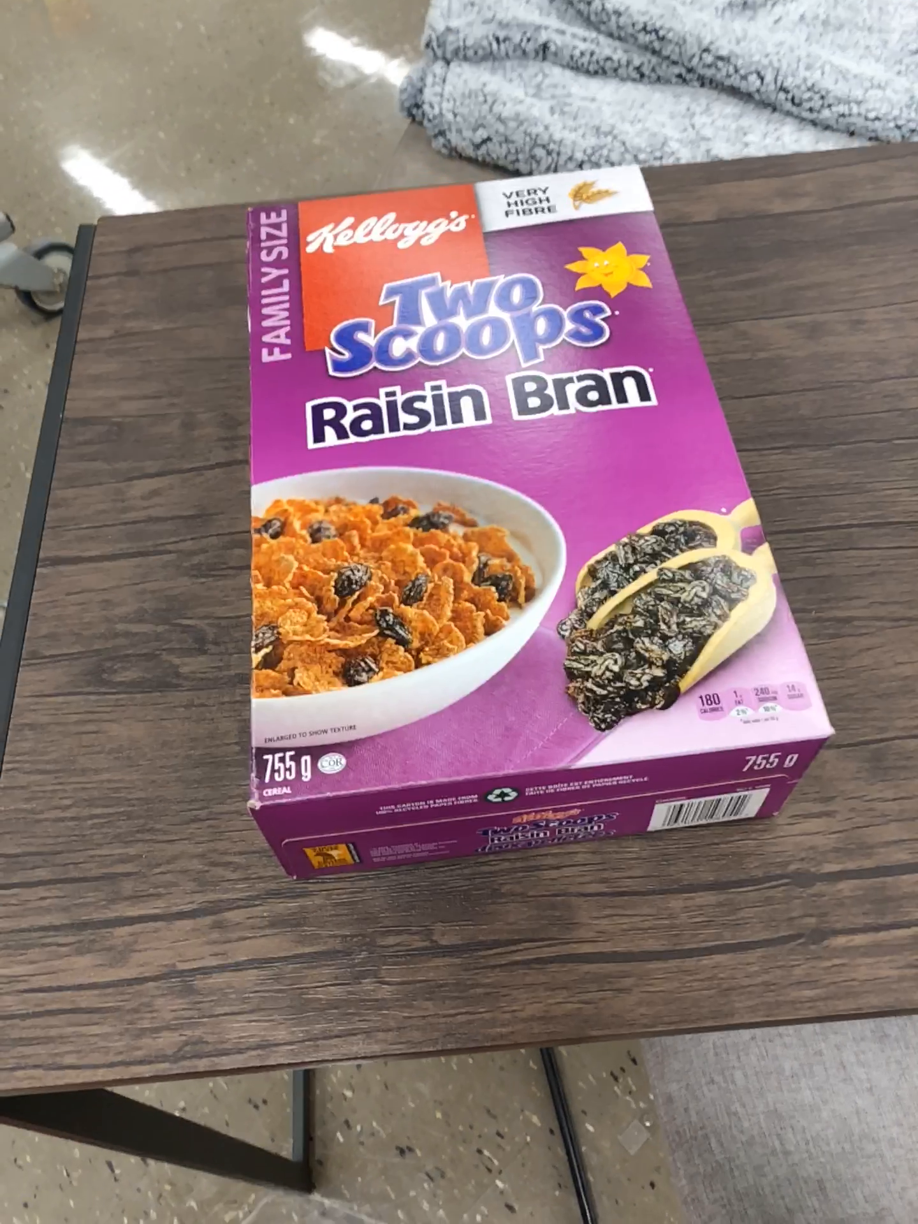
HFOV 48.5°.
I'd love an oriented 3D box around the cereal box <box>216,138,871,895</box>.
[{"bbox_3d":[0.011,-0.061,0.441,0.210,0.080,0.321,-7,58,-1],"label":"cereal box"}]
